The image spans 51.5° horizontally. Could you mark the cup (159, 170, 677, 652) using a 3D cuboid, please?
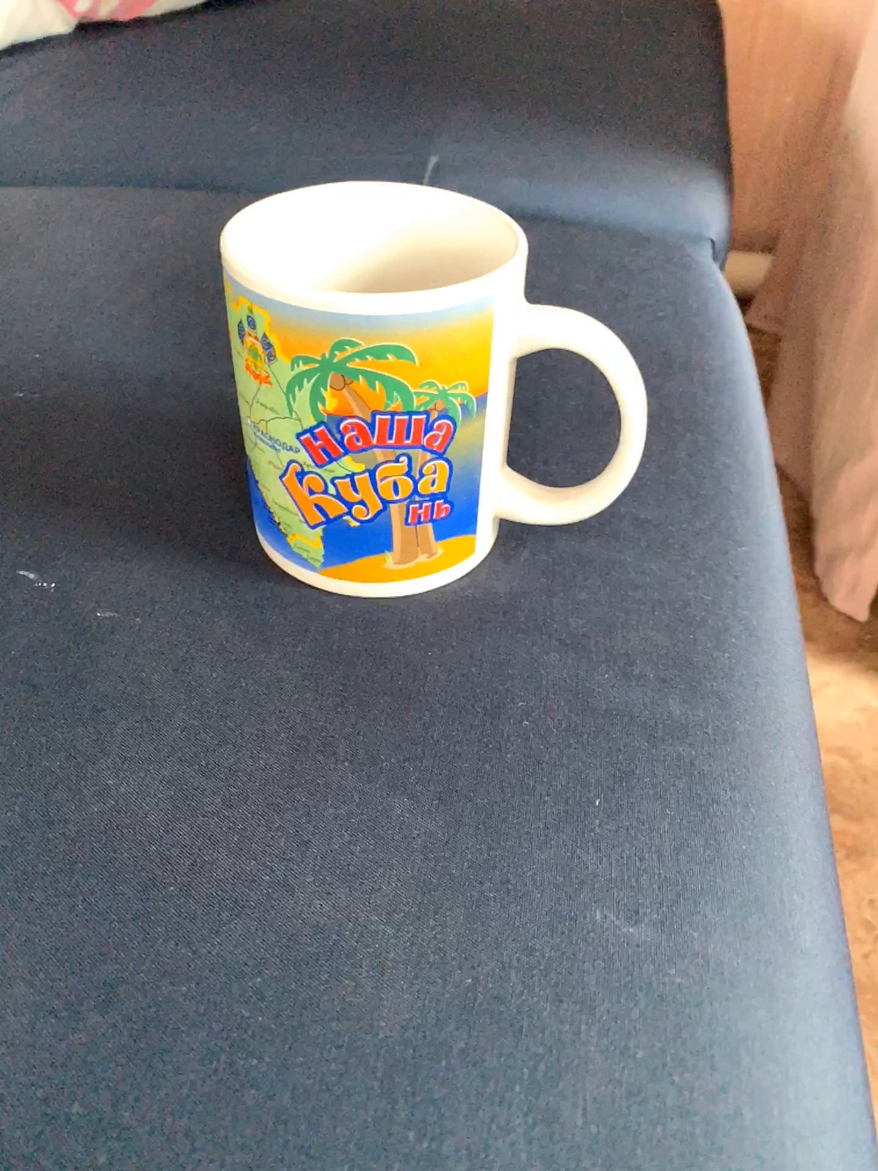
[{"bbox_3d":[0.001,-0.056,0.277,0.120,0.099,0.091,9,41,11],"label":"cup"}]
